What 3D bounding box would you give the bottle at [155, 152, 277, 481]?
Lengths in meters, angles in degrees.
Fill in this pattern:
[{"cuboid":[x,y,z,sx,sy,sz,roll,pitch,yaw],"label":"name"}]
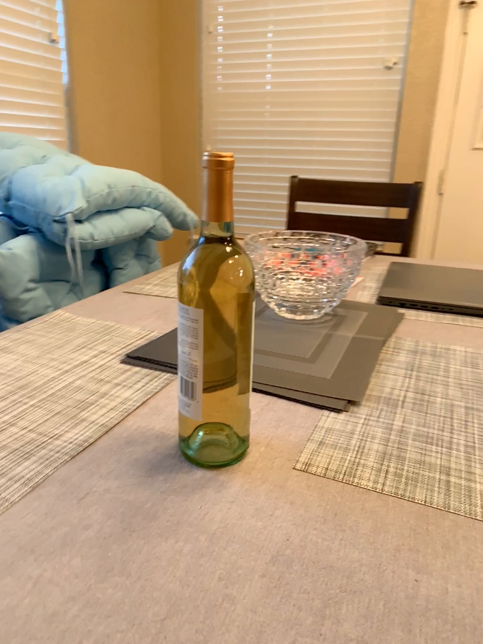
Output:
[{"cuboid":[-0.029,-0.006,0.483,0.080,0.299,0.084,2,18,-1],"label":"bottle"}]
